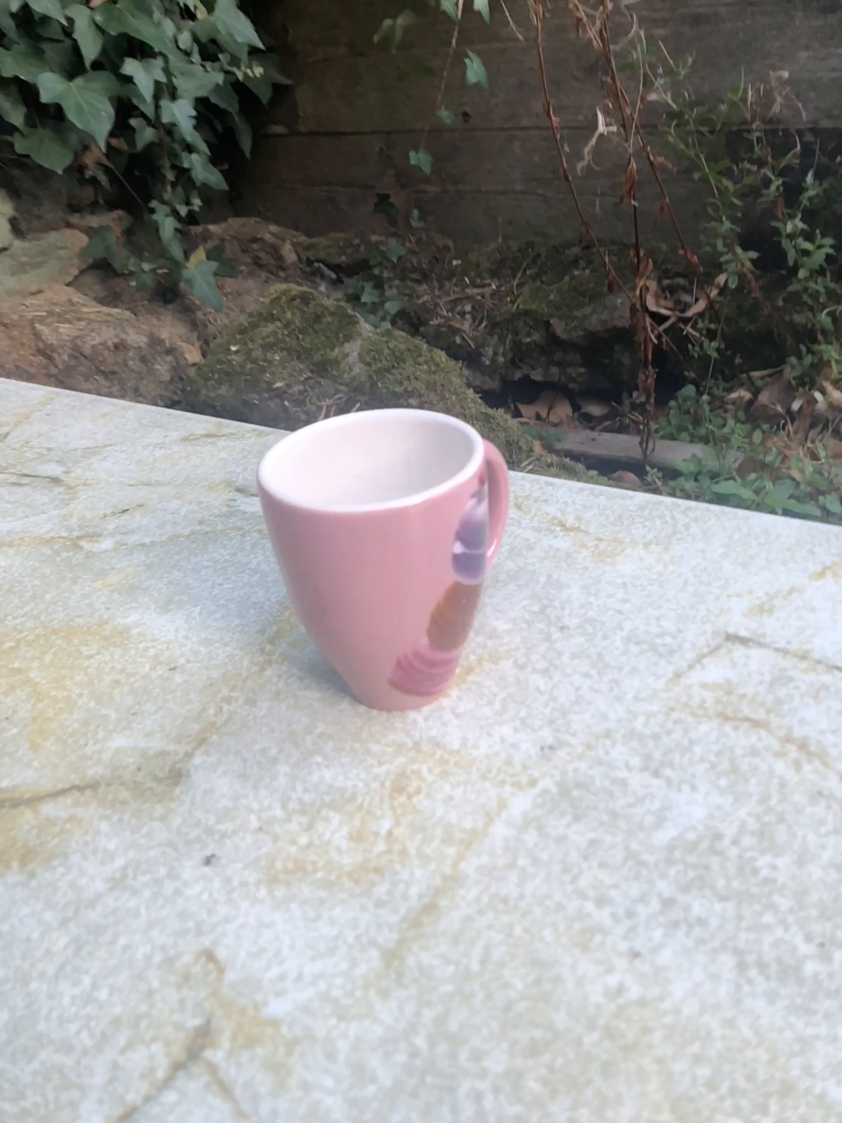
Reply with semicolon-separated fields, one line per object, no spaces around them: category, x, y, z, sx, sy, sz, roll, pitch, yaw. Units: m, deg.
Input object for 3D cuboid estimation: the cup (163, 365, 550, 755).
cup;-0.017;-0.007;0.325;0.080;0.080;0.099;25;44;38
